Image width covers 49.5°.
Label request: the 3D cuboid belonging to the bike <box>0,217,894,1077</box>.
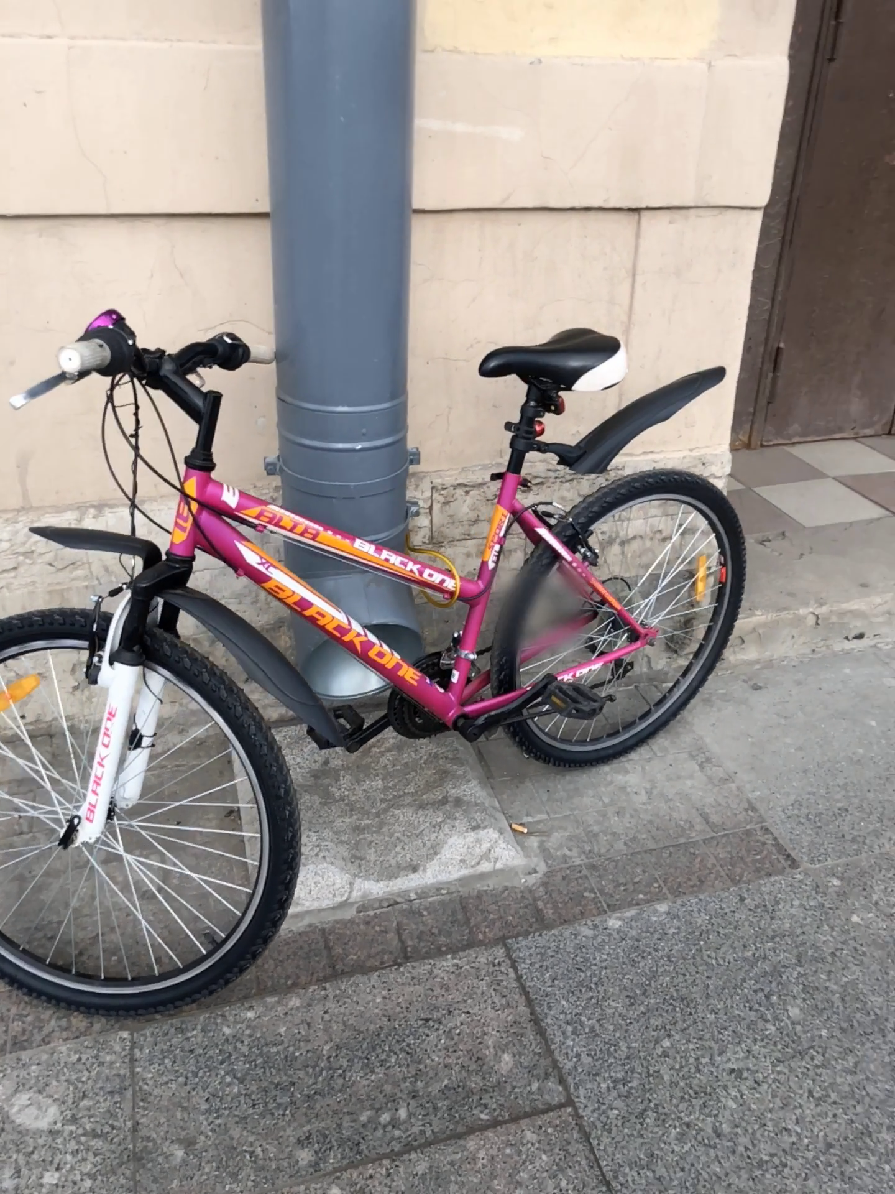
[{"bbox_3d":[-0.132,-0.037,1.669,1.575,0.974,0.625,-13,31,-21],"label":"bike"}]
